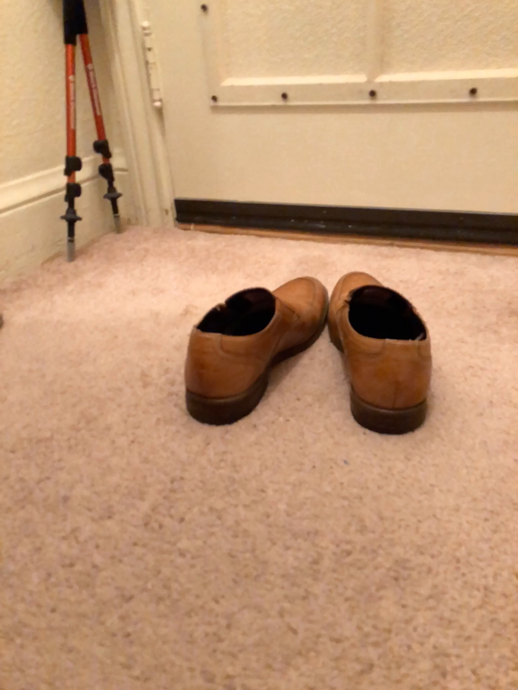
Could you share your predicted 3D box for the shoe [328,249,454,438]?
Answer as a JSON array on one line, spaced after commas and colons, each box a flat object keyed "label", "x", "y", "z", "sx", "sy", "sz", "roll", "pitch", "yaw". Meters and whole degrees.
[{"label": "shoe", "x": 0.135, "y": -0.022, "z": 0.647, "sx": 0.107, "sy": 0.089, "sz": 0.312, "roll": 0, "pitch": 26, "yaw": 8}]

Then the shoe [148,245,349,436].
[{"label": "shoe", "x": 0.009, "y": -0.028, "z": 0.667, "sx": 0.100, "sy": 0.090, "sz": 0.322, "roll": 10, "pitch": 28, "yaw": 24}]
